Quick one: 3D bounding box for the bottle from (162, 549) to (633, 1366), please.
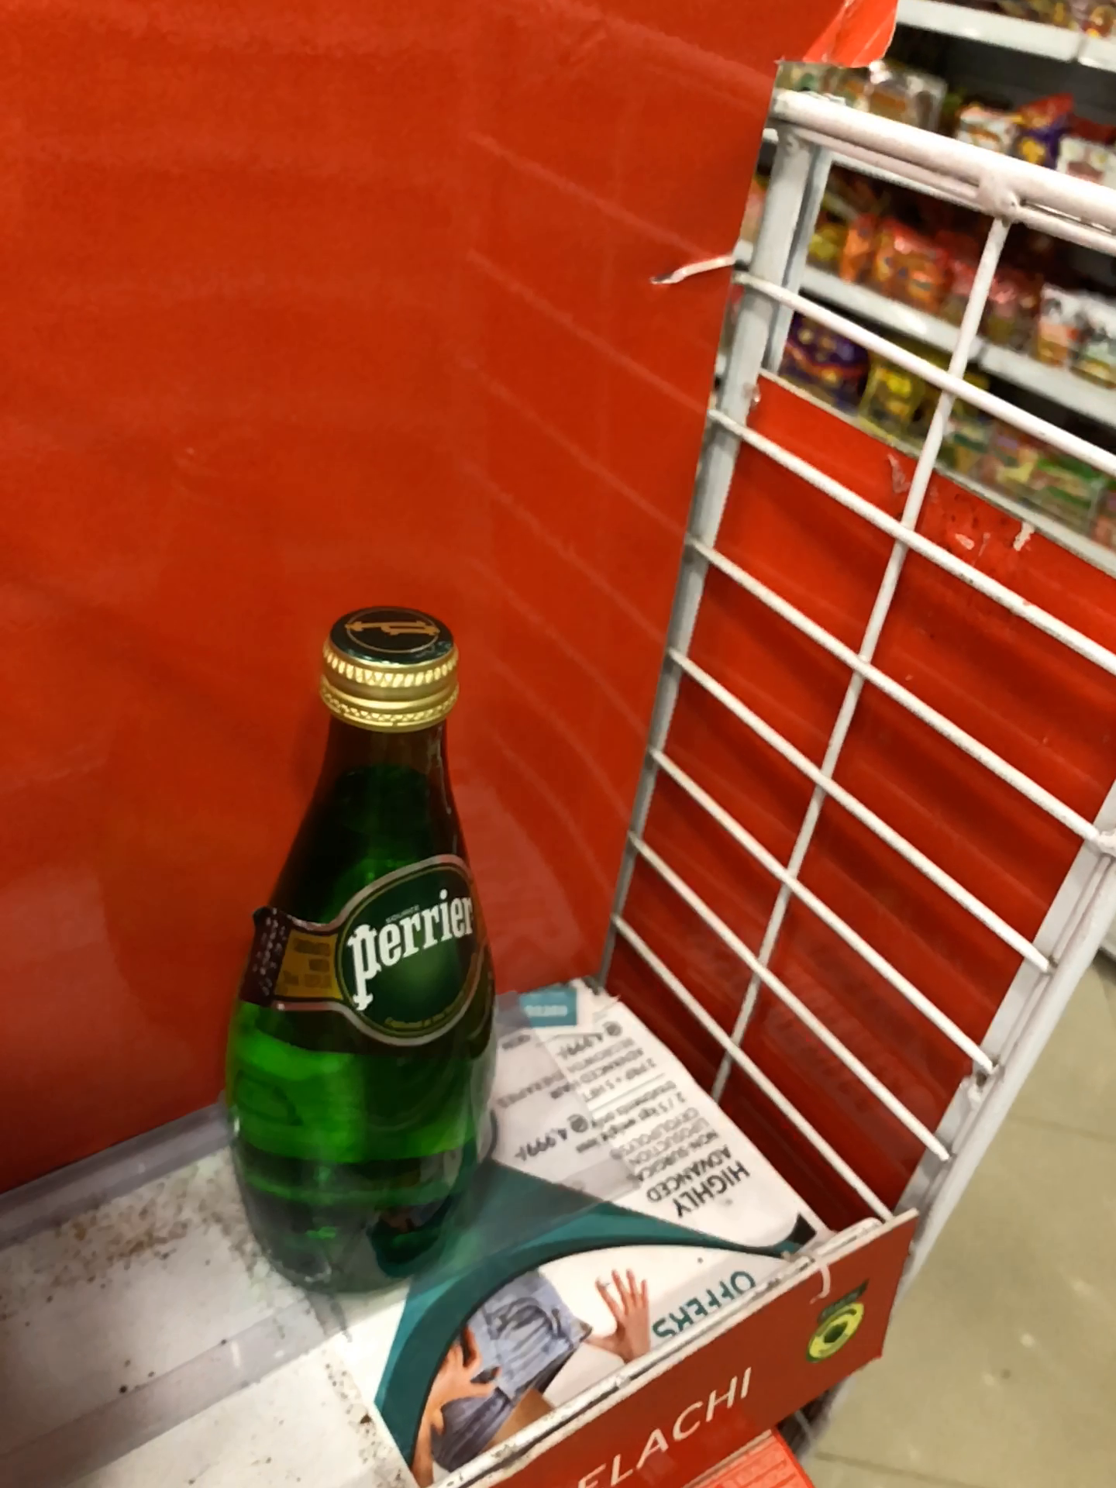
[{"bbox_3d":[-0.043,0.054,0.292,0.070,0.179,0.060,-16,42,-32],"label":"bottle"}]
